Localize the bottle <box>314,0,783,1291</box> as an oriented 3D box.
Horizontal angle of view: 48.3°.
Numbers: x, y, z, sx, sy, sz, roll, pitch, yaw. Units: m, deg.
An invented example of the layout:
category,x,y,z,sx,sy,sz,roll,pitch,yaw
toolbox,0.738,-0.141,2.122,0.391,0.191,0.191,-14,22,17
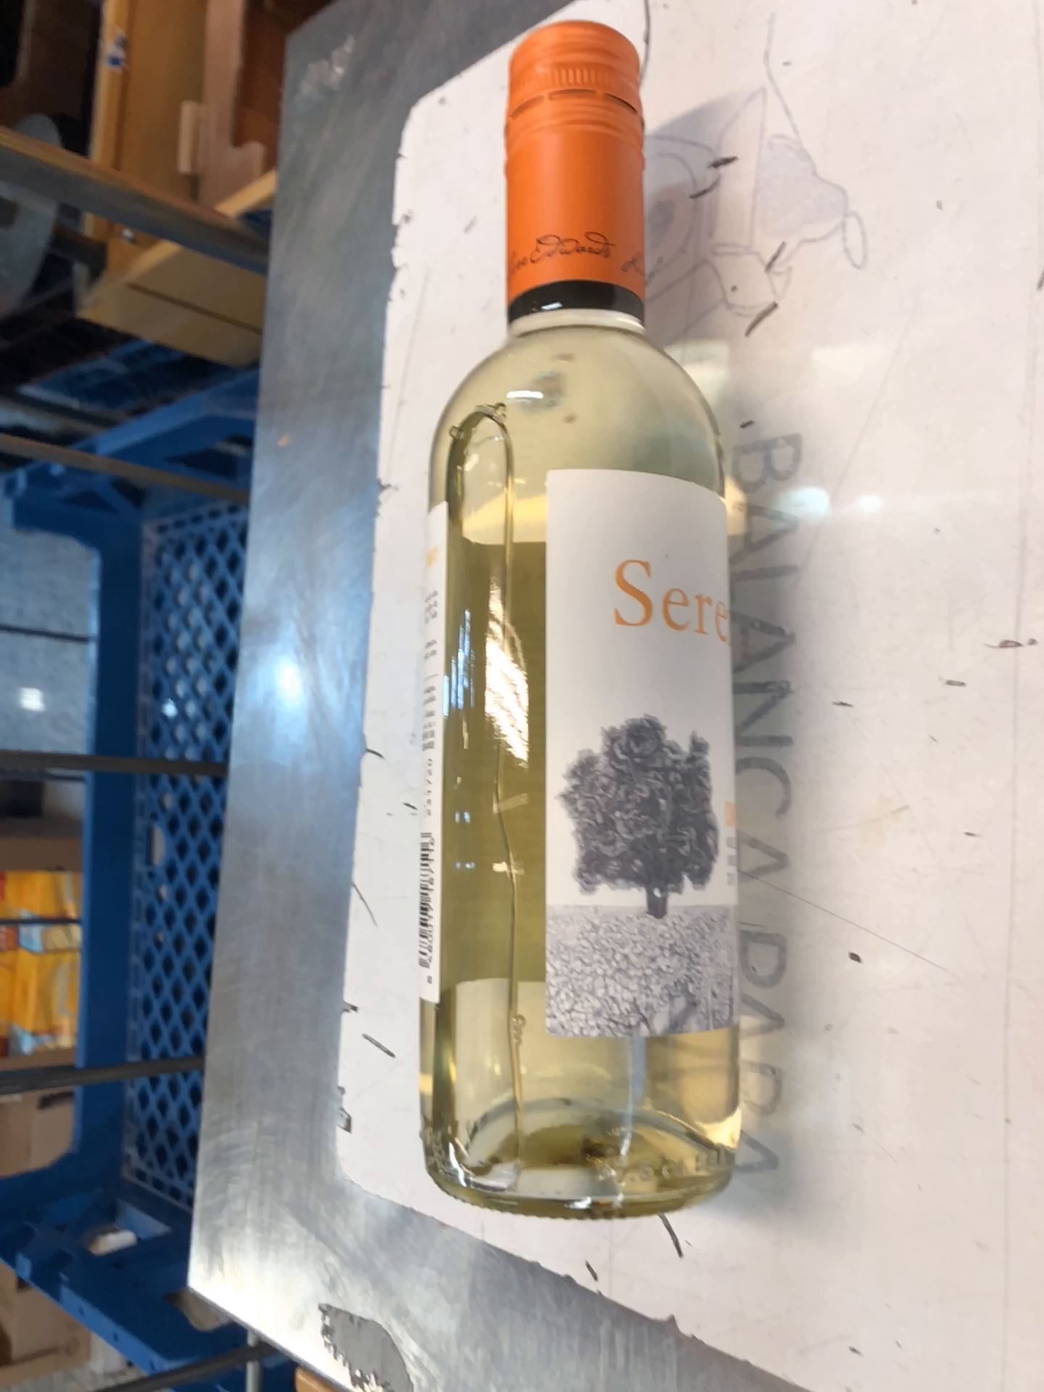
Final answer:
category,x,y,z,sx,sy,sz,roll,pitch,yaw
bottle,0.012,-0.037,0.242,0.070,0.070,0.270,-2,83,24
